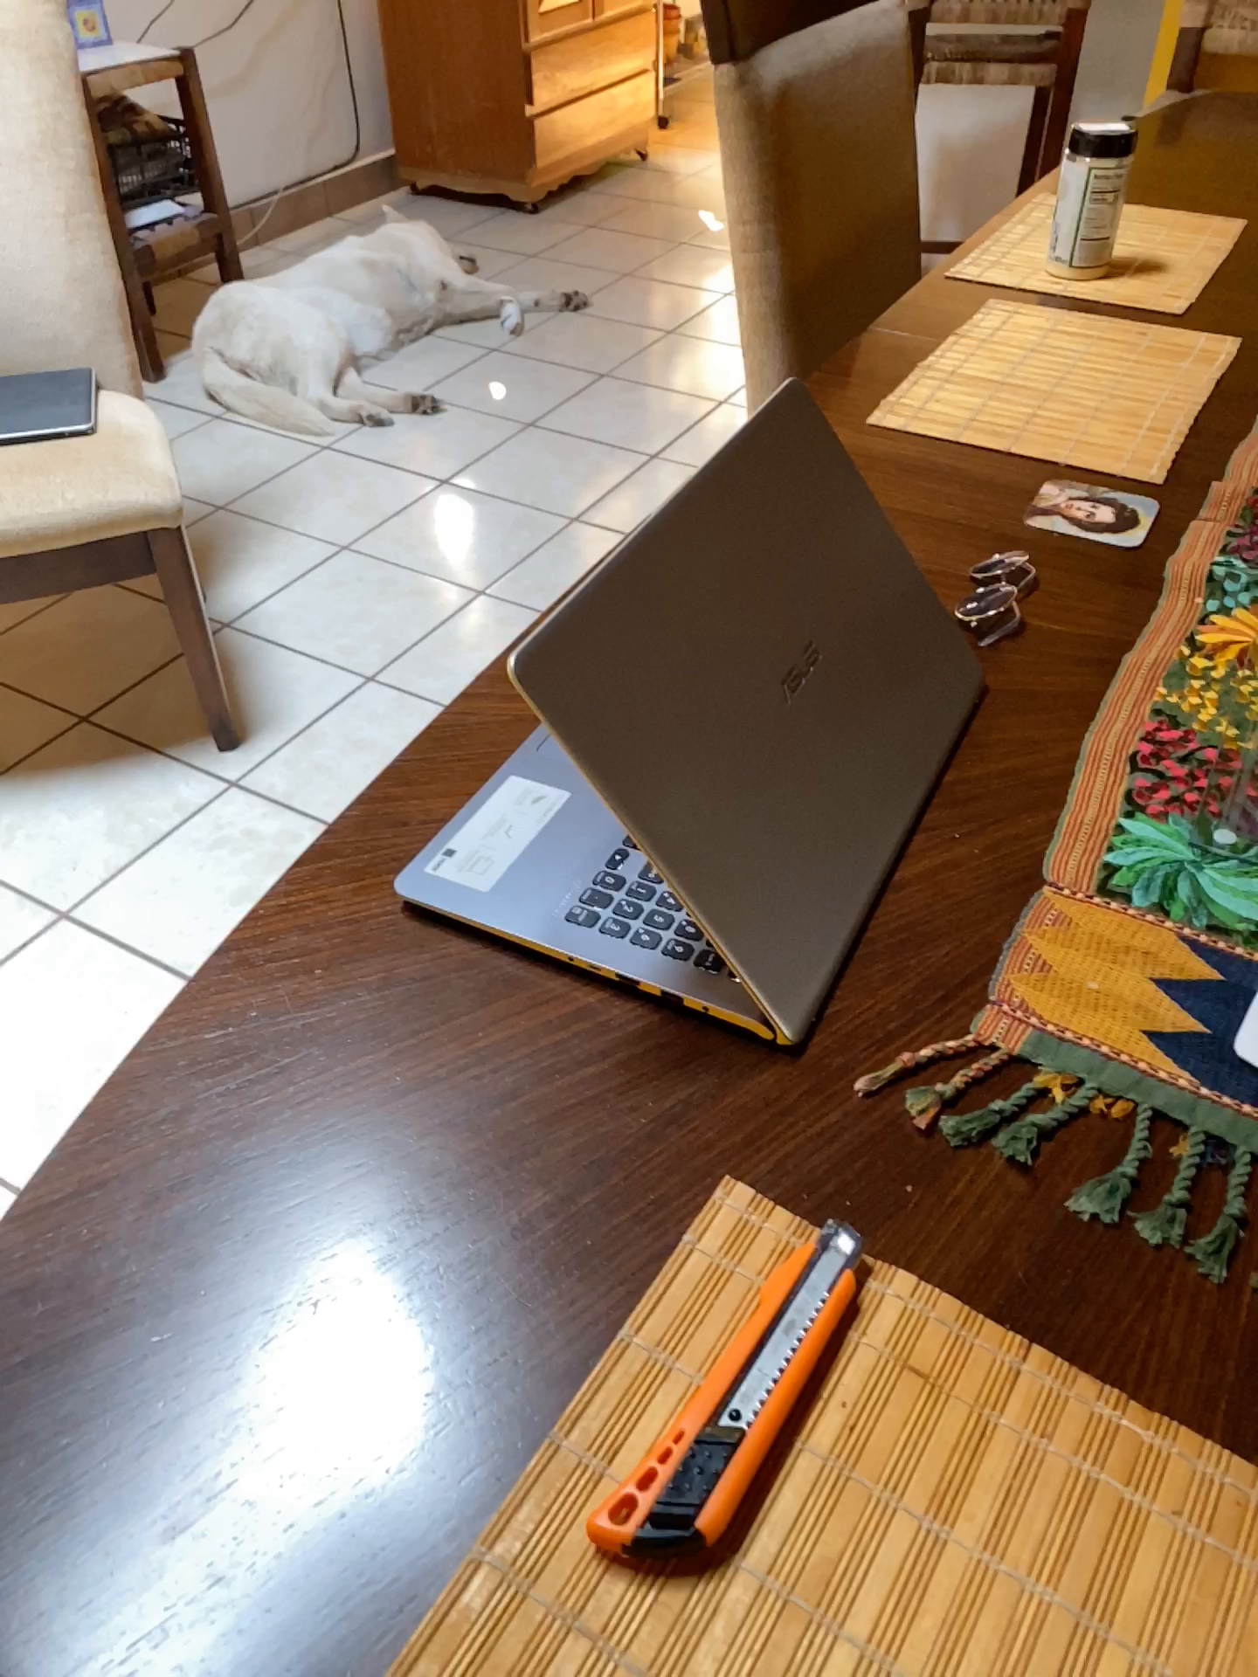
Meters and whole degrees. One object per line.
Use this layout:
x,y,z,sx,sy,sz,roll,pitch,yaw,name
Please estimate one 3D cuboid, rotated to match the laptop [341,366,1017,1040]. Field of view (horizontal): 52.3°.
0.051,-0.112,0.783,0.250,0.181,0.378,18,45,19,laptop
